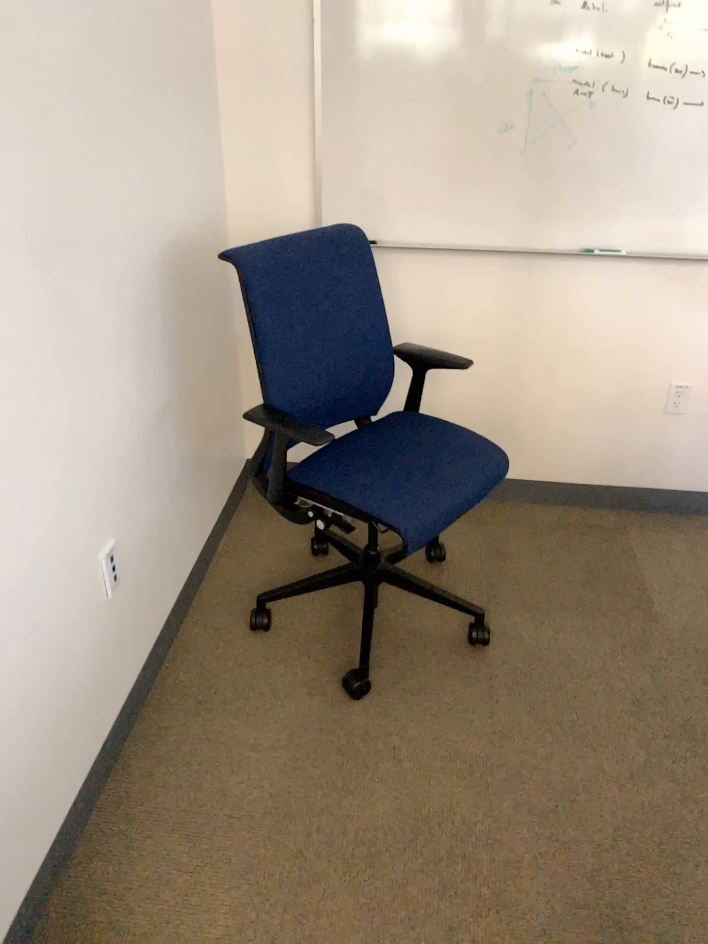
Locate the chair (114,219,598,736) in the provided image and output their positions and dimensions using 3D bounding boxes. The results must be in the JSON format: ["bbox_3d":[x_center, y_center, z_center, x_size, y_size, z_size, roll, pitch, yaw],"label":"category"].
[{"bbox_3d":[-0.016,-0.085,2.061,0.983,0.994,0.742,25,38,36],"label":"chair"}]
